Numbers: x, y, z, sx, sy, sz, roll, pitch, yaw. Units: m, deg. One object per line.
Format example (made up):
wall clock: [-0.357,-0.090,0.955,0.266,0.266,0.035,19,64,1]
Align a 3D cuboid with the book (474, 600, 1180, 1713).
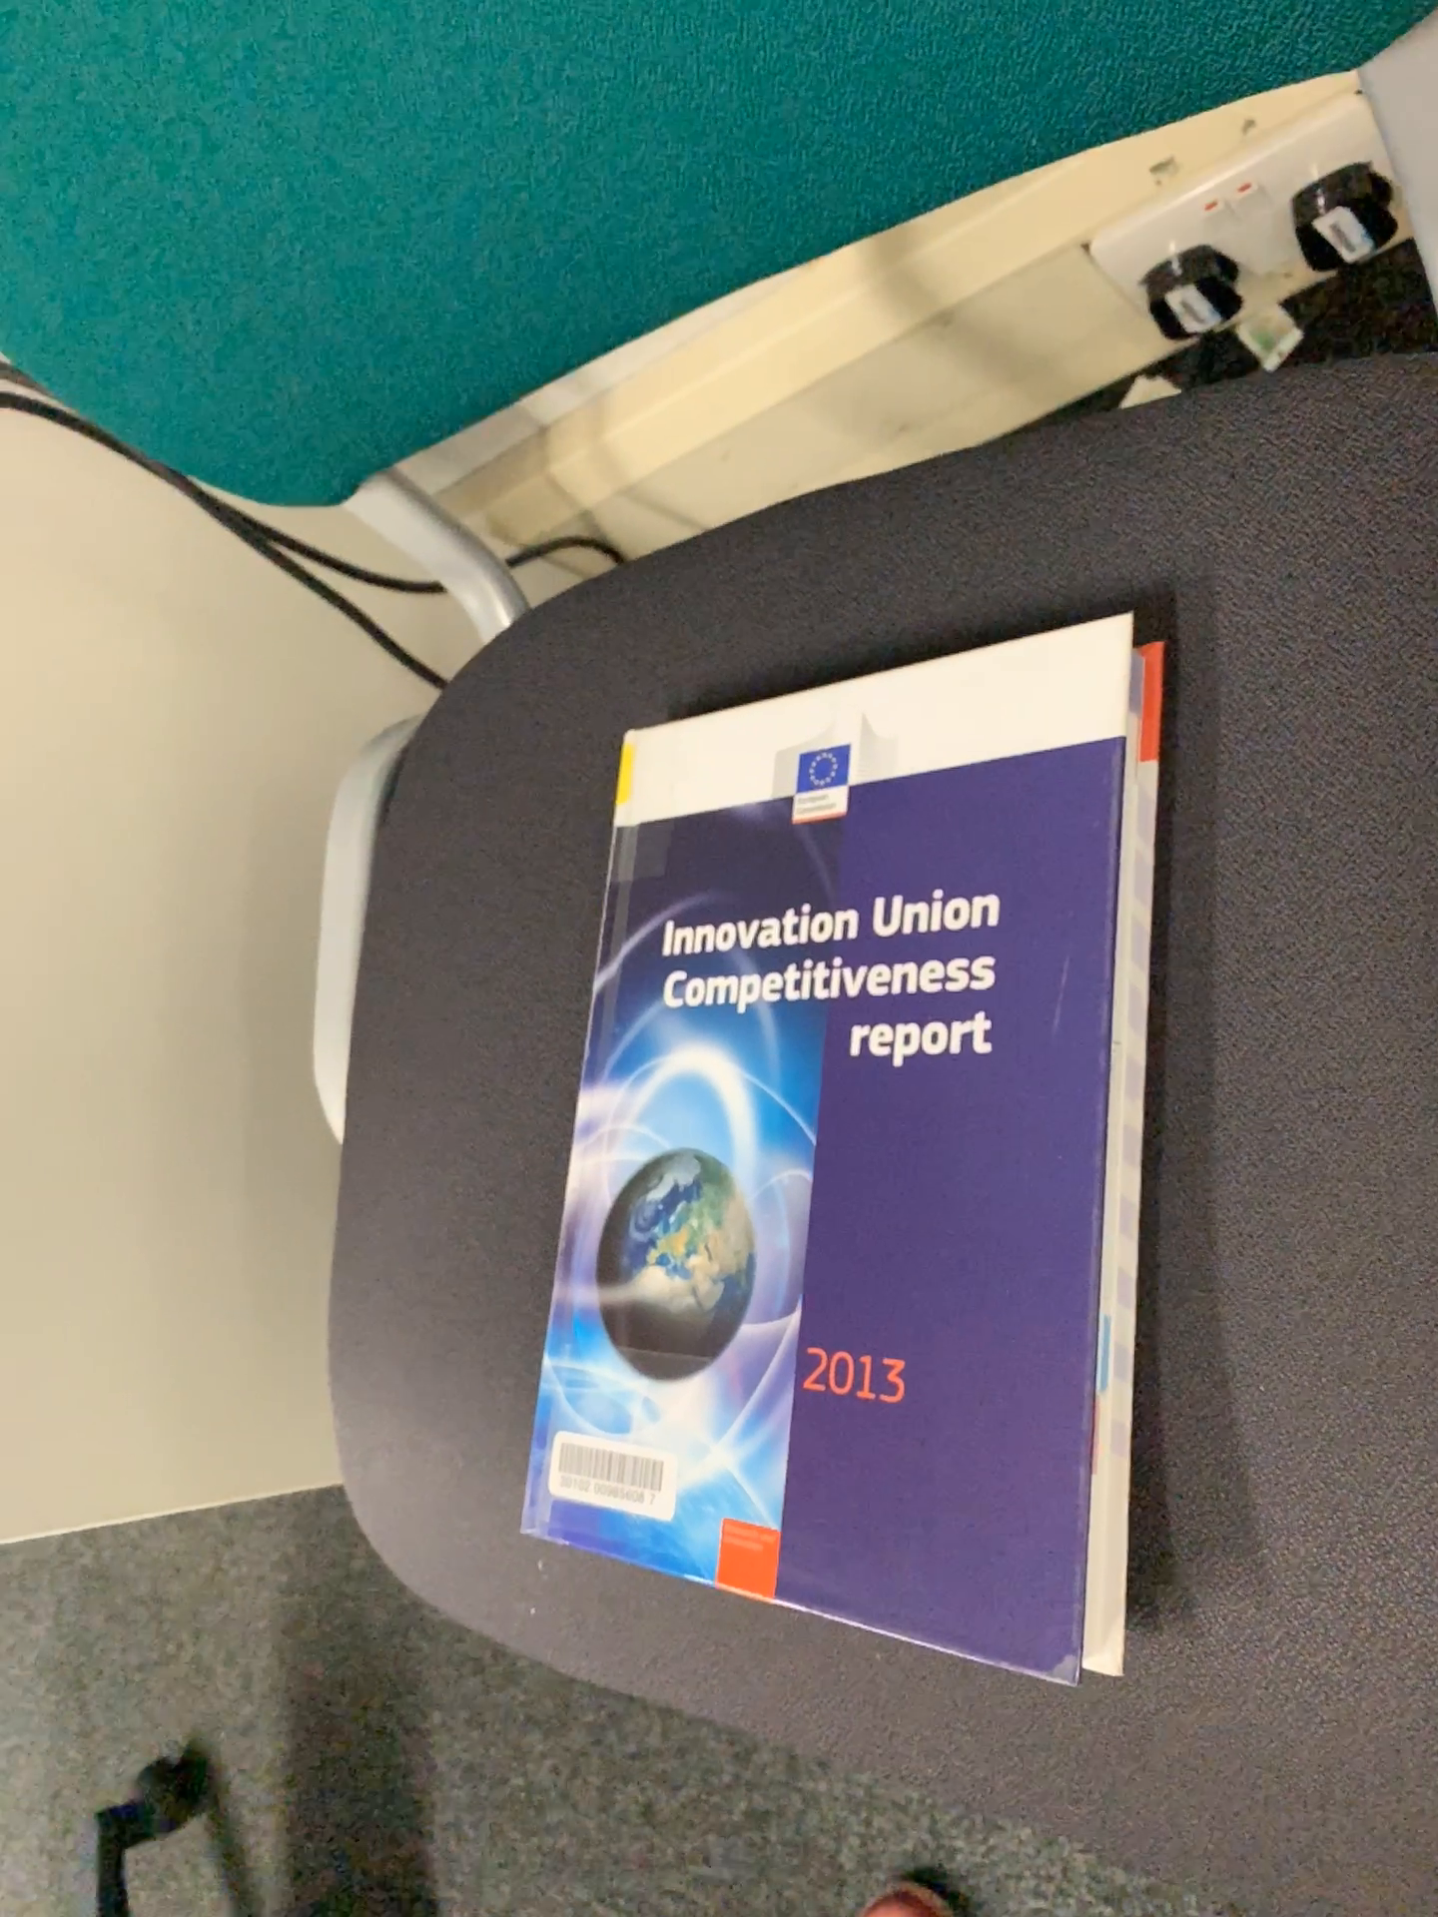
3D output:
book: [0.022,0.043,0.408,0.195,0.026,0.250,-5,73,43]
